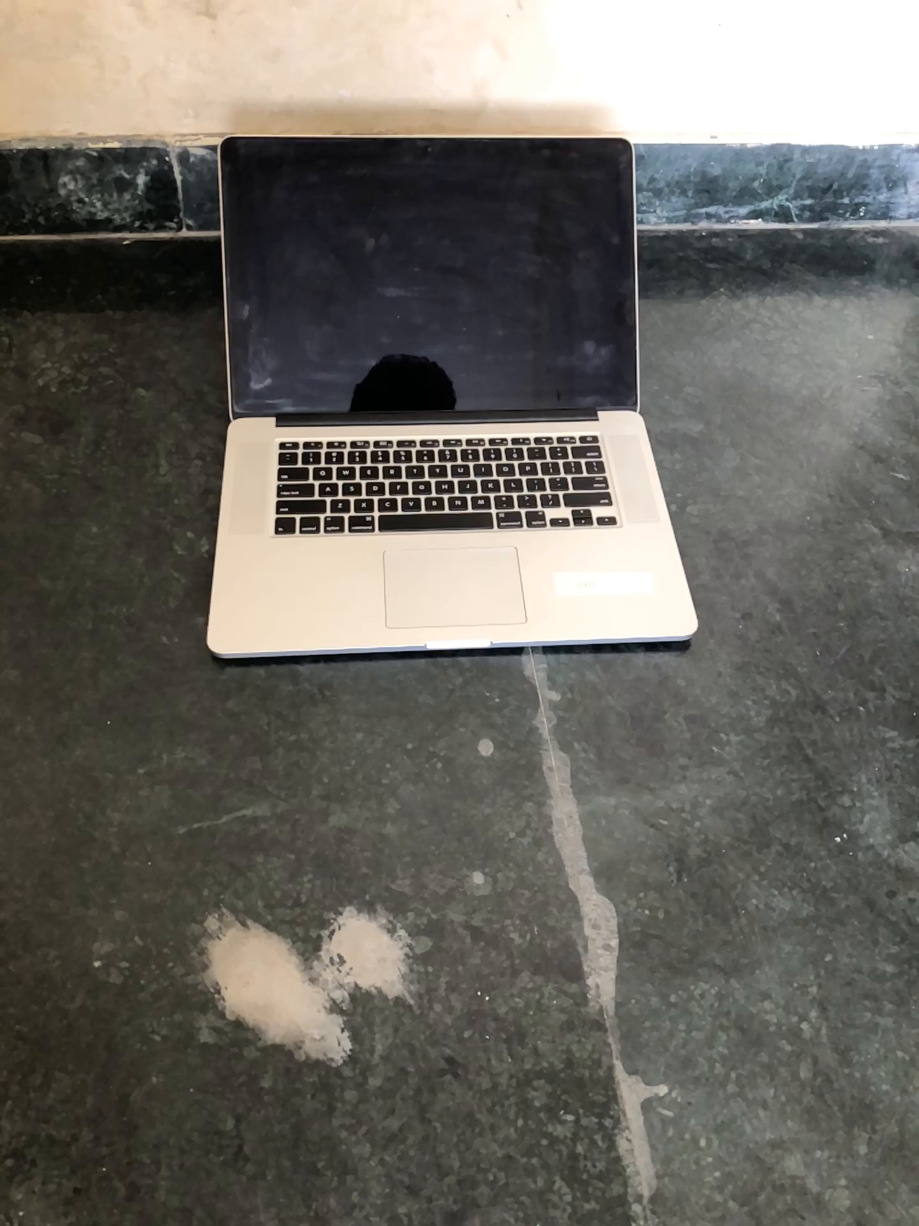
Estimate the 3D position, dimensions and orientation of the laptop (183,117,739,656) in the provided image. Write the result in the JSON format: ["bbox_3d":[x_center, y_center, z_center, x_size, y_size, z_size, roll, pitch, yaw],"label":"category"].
[{"bbox_3d":[-0.012,-0.200,0.789,0.342,0.130,0.435,-2,56,-6],"label":"laptop"}]
